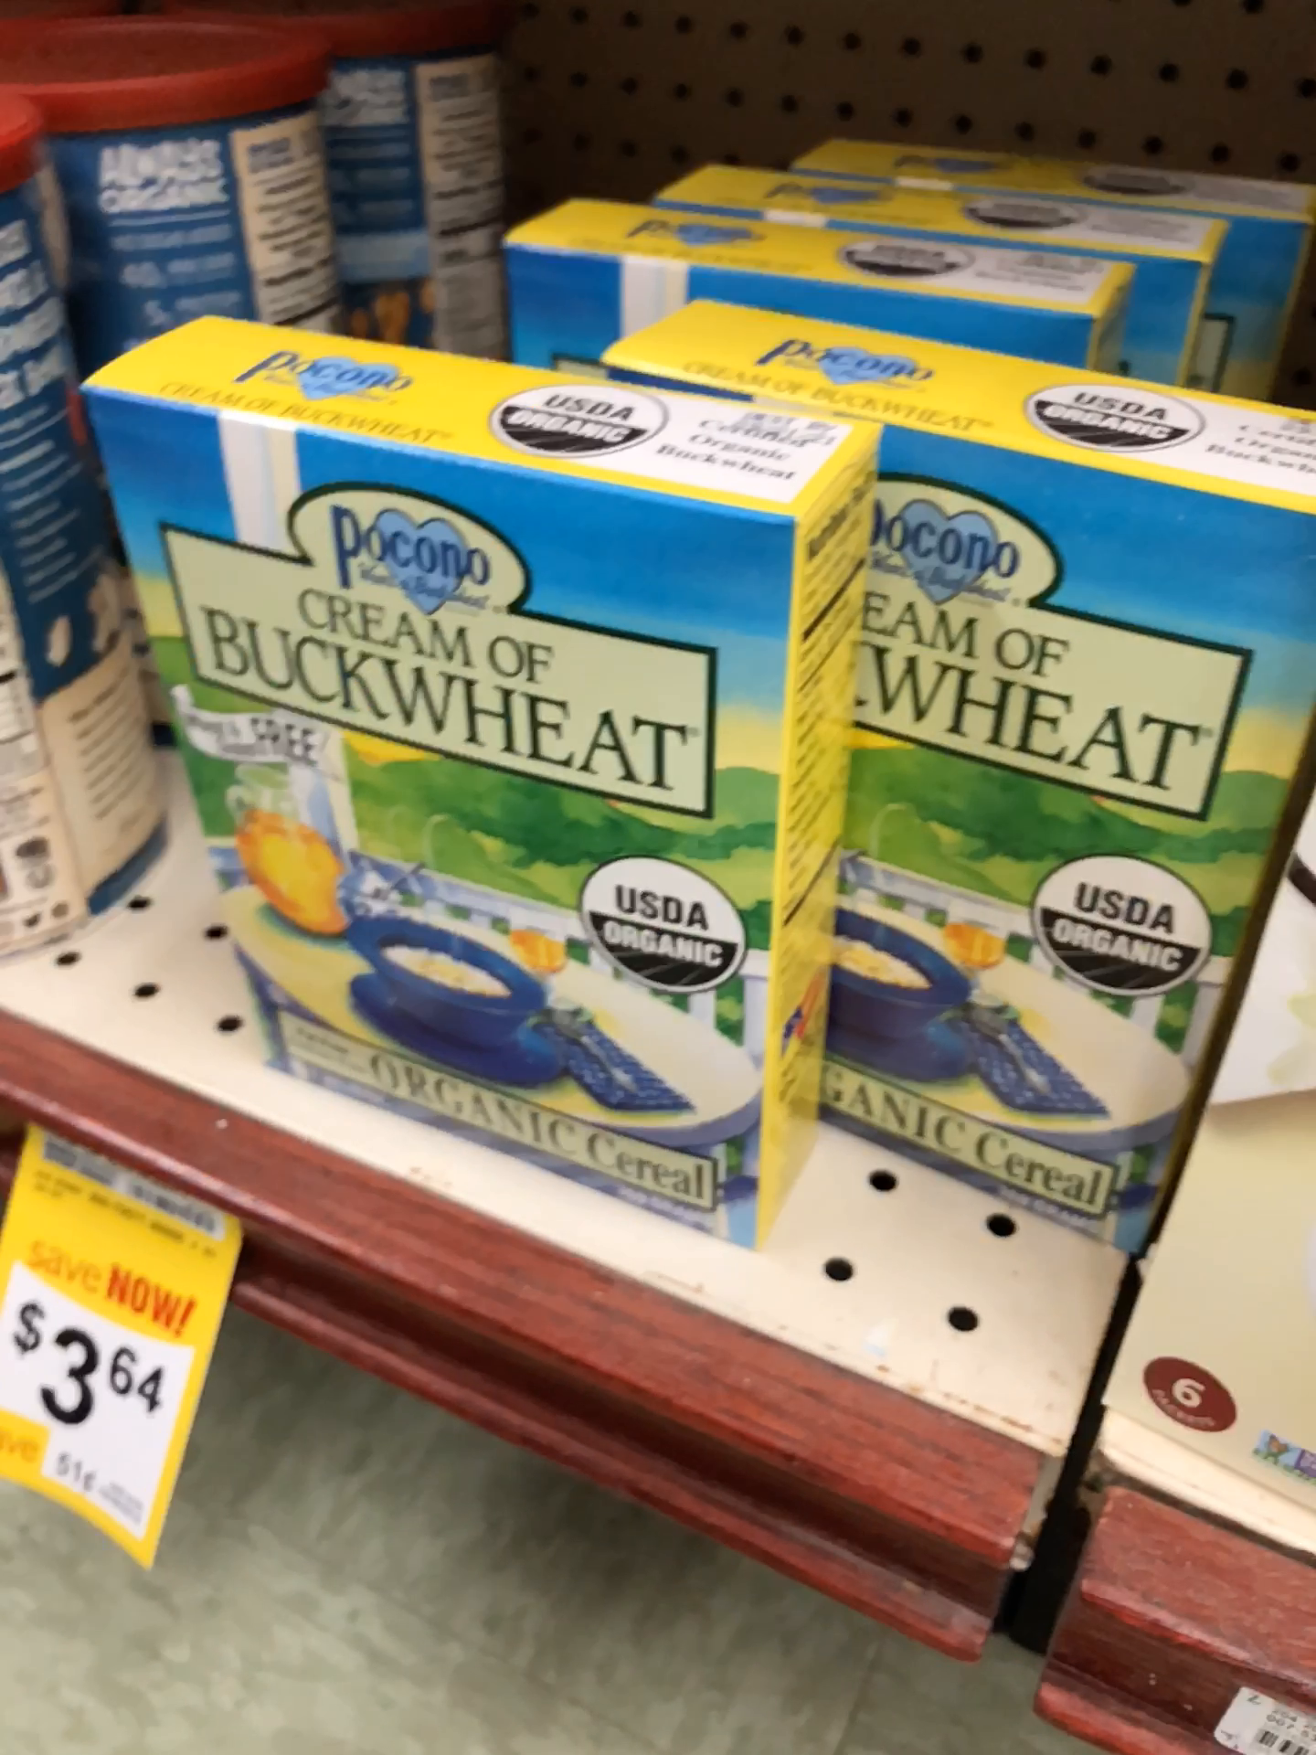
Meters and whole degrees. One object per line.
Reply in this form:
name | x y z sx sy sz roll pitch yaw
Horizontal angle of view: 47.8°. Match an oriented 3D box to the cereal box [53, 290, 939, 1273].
cereal box | -0.028 -0.014 0.268 0.130 0.150 0.040 17 40 19
